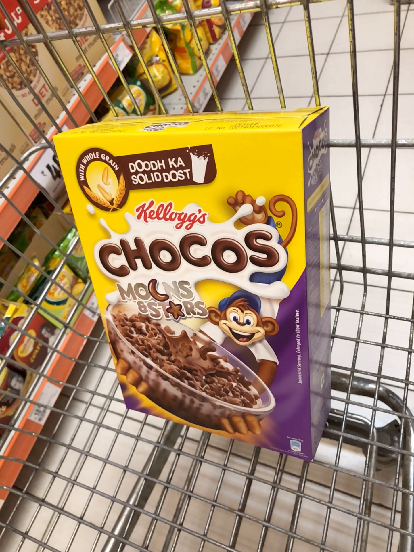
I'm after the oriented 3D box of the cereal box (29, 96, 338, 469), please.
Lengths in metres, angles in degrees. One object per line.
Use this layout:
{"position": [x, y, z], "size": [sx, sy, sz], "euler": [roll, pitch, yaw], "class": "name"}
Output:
{"position": [-0.006, 0.006, 0.351], "size": [0.190, 0.249, 0.070], "euler": [7, 29, 25], "class": "cereal box"}
